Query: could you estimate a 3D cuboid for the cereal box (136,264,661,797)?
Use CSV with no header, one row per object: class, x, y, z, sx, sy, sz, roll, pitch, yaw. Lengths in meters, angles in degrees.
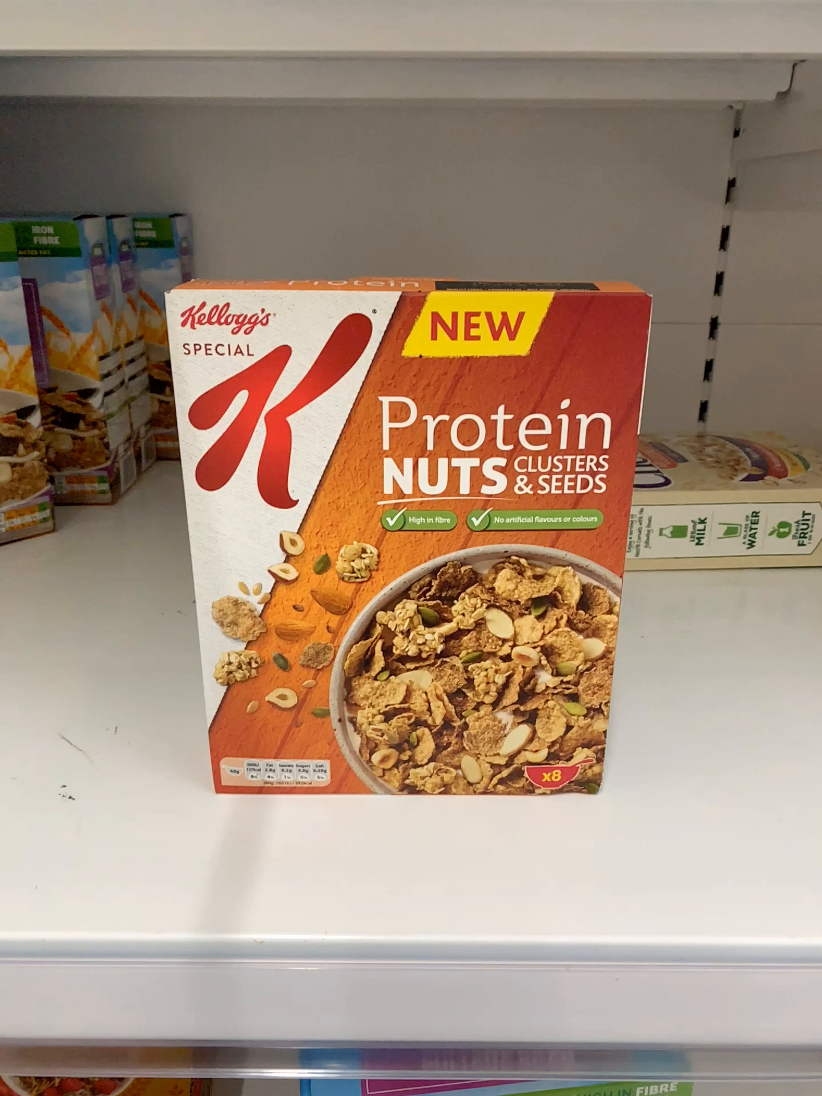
cereal box,-0.005,-0.005,0.397,0.200,0.238,0.071,0,21,0
